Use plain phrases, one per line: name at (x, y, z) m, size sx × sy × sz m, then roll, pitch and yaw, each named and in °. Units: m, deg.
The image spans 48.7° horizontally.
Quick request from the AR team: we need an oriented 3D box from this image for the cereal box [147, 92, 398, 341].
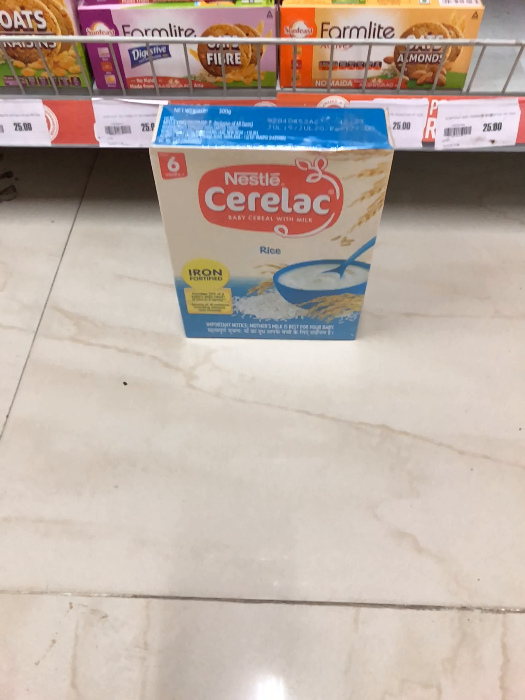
cereal box at (0.007, -0.089, 0.440) m, size 0.150 × 0.189 × 0.060 m, roll 1°, pitch 54°, yaw 1°
